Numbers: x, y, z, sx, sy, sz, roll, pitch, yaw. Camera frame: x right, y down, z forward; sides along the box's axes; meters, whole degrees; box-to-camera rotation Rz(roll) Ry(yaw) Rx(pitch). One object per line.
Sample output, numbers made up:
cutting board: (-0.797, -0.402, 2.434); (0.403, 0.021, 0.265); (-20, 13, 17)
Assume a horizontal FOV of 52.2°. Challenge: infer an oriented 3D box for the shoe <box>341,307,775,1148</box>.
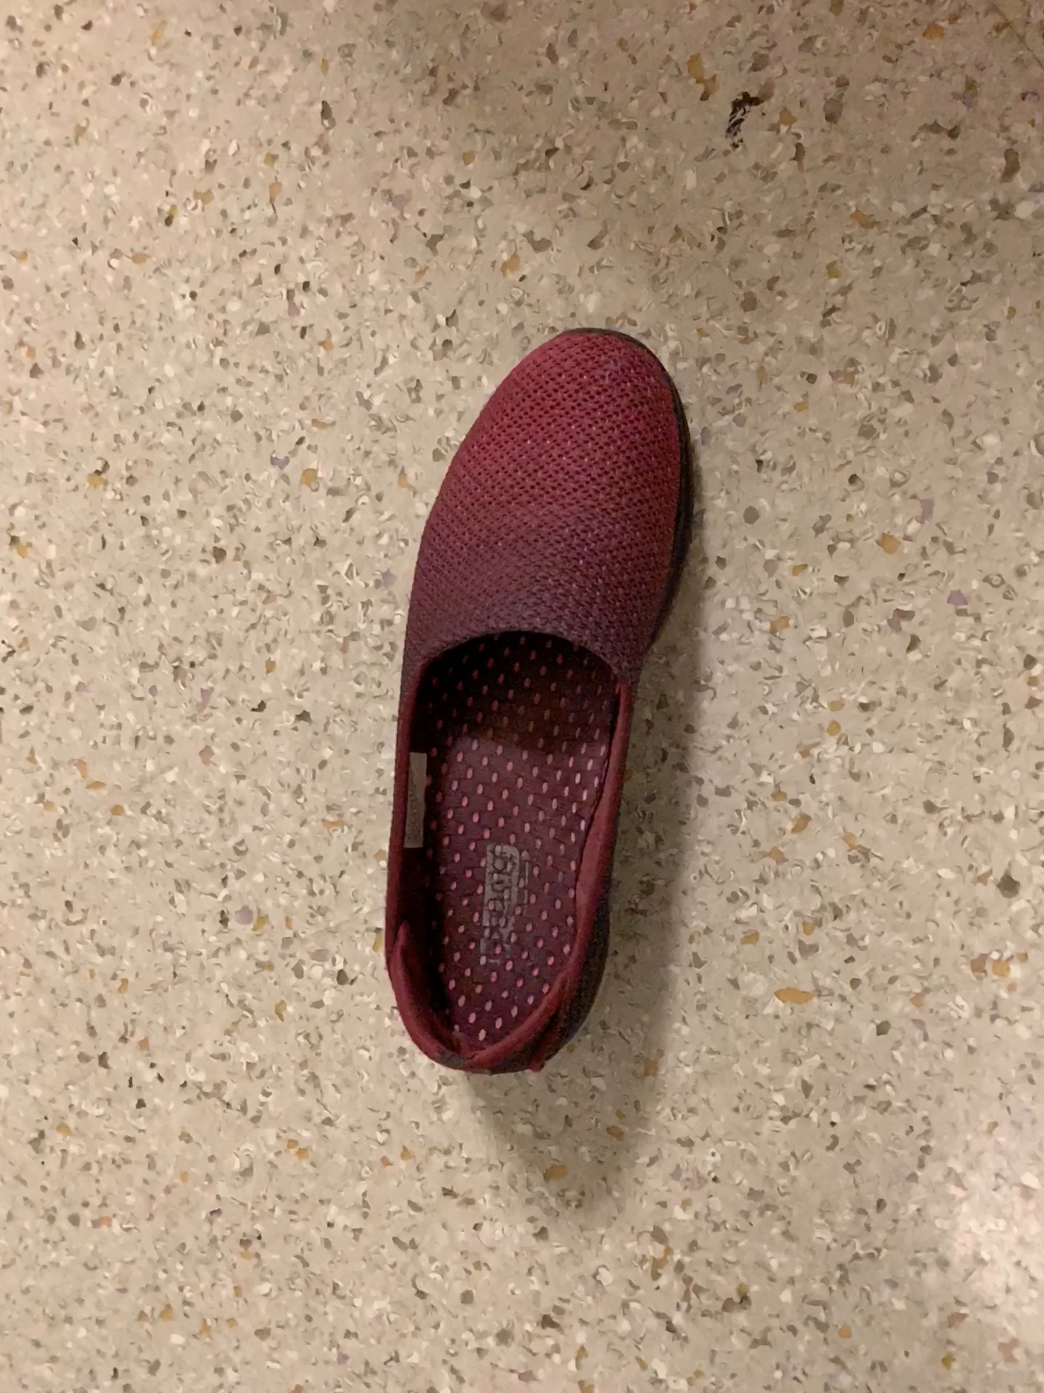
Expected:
shoe: (0.017, 0.006, 0.349); (0.092, 0.091, 0.229); (9, 94, 16)
